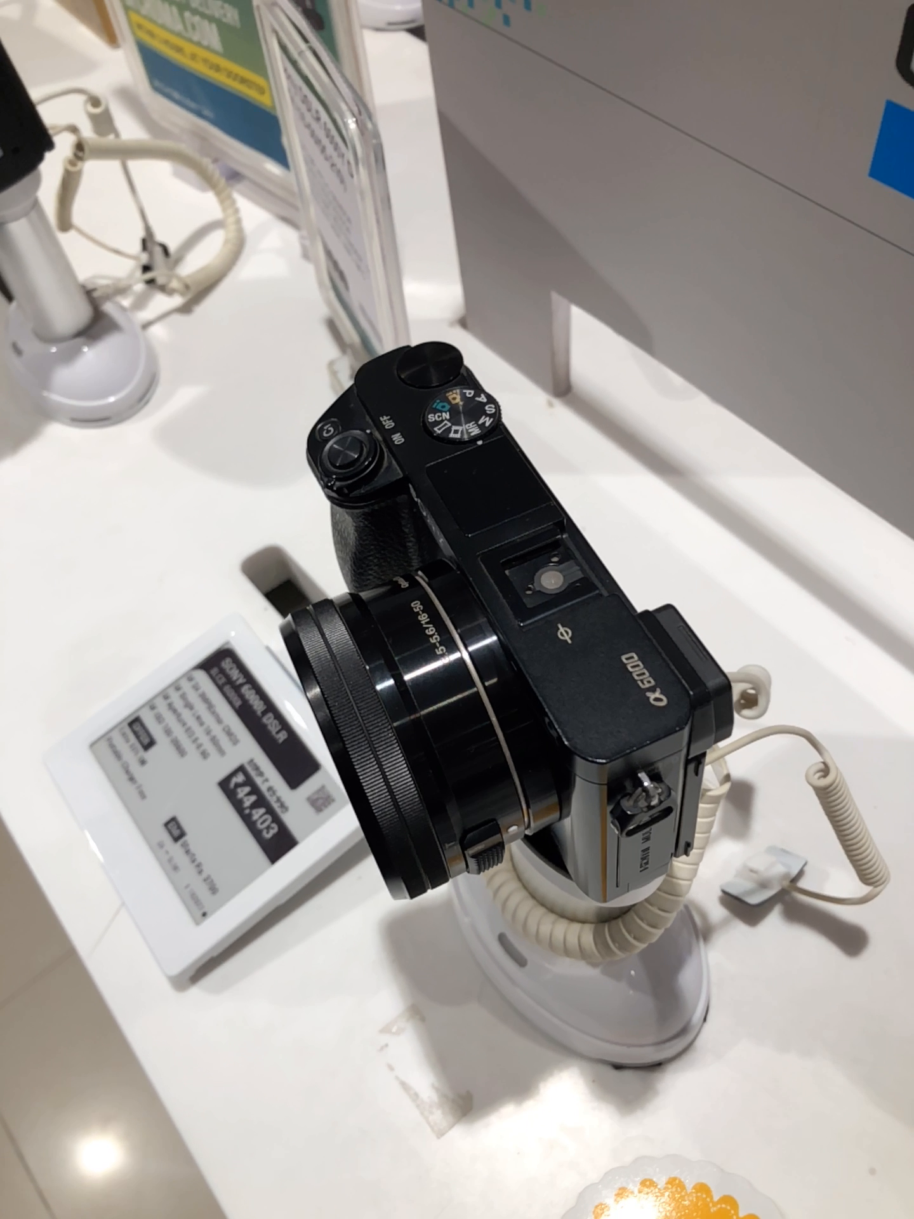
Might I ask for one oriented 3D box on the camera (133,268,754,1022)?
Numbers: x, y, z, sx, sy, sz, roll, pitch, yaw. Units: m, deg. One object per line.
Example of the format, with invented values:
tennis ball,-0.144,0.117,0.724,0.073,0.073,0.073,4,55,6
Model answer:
camera,-0.006,0.004,0.194,0.060,0.070,0.110,-24,57,-10
